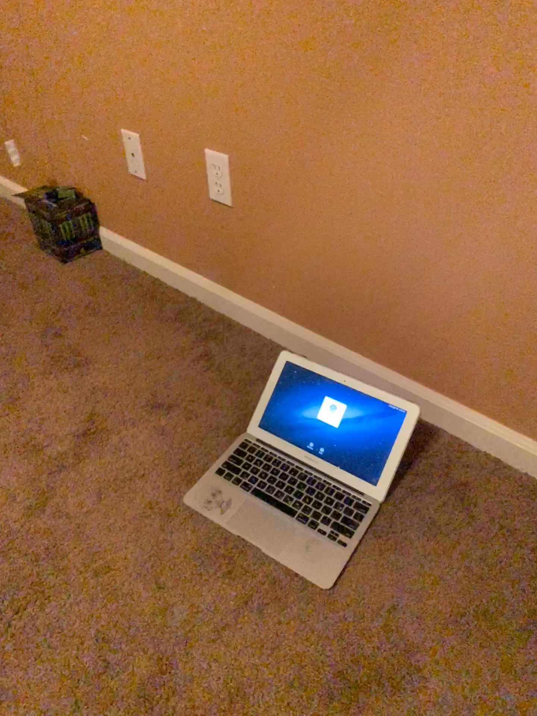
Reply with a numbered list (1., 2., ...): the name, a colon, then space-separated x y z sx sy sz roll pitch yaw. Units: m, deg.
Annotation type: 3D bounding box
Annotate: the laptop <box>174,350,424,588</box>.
1. laptop: 0.062 0.168 0.974 0.299 0.116 0.325 23 46 26
